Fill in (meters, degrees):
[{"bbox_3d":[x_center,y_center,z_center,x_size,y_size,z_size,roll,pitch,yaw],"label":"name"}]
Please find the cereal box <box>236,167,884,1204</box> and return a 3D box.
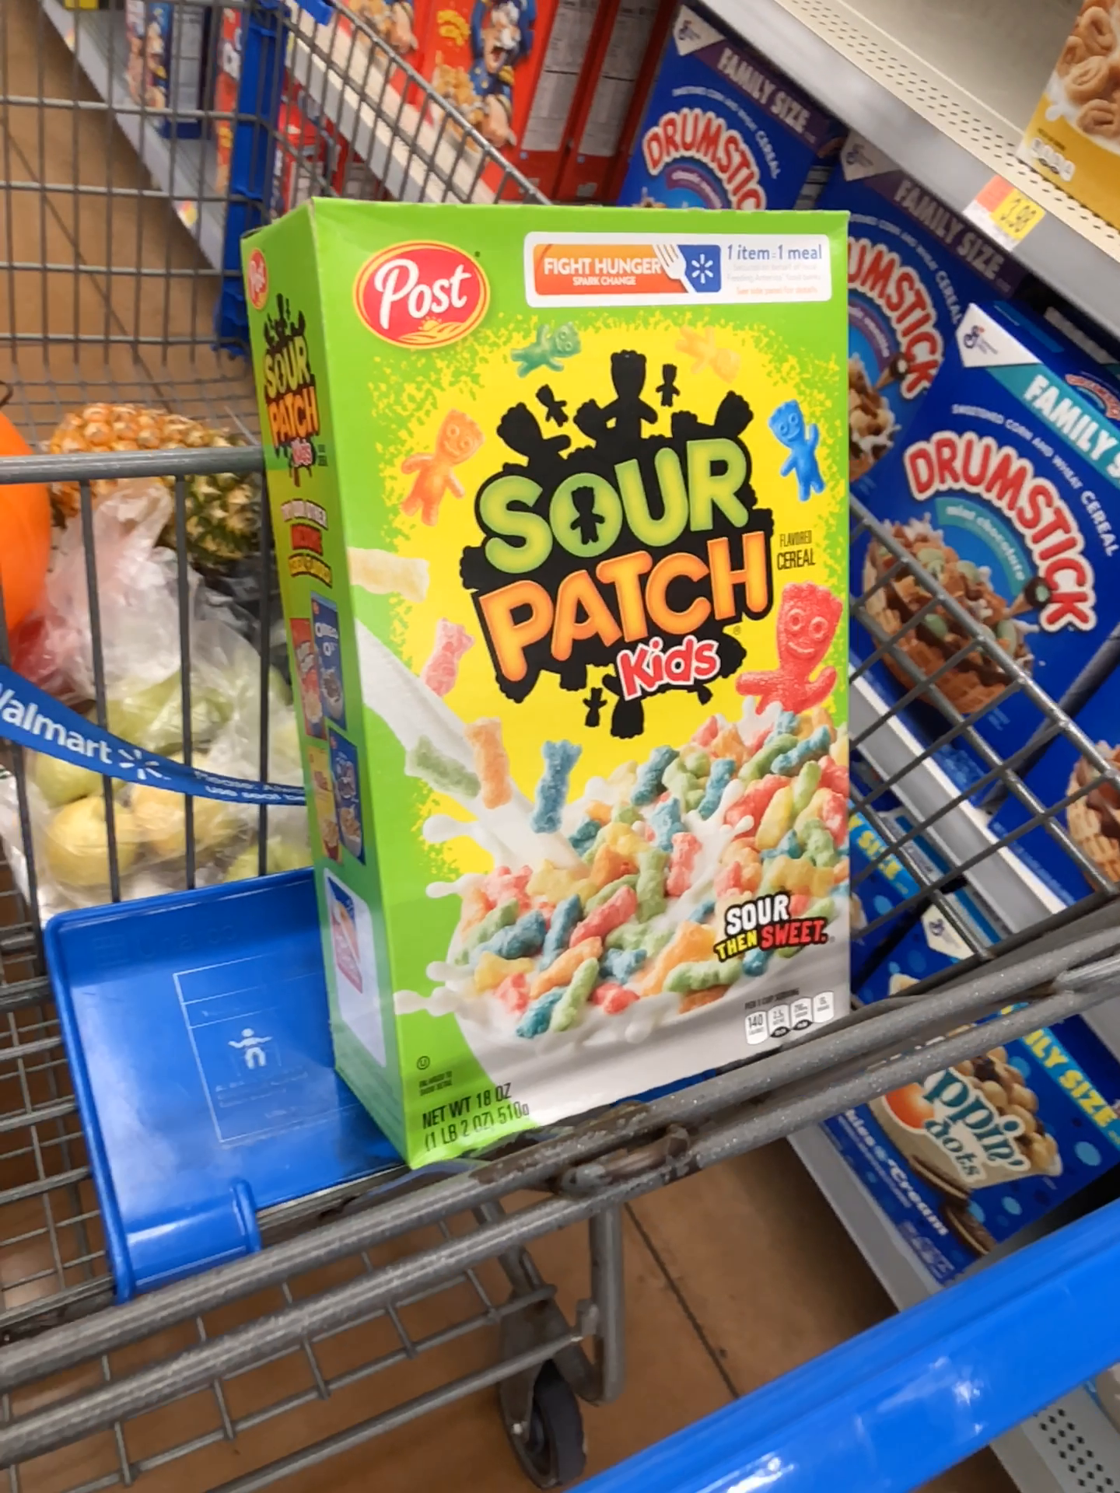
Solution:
[{"bbox_3d":[0.010,-0.026,0.451,0.200,0.320,0.080,-11,17,-27],"label":"cereal box"}]
